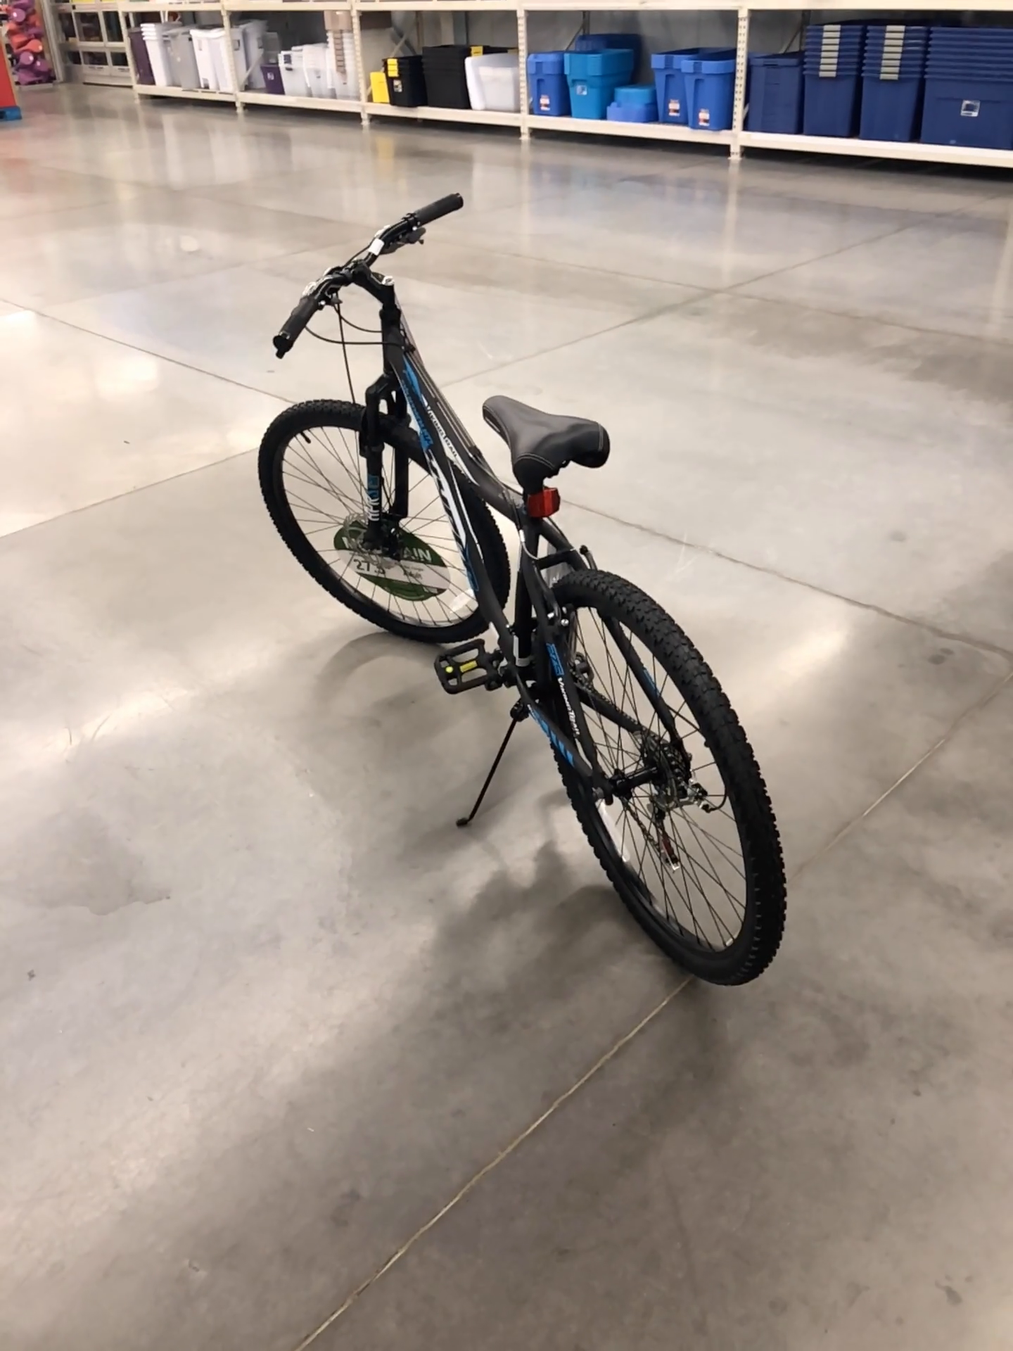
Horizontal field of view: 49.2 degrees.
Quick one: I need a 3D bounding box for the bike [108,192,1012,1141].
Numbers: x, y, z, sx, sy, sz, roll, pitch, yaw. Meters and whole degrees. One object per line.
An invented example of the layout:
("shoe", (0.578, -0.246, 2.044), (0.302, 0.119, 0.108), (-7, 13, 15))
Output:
("bike", (-0.086, -0.213, 1.968), (0.572, 0.986, 1.641), (-20, 35, -26))
